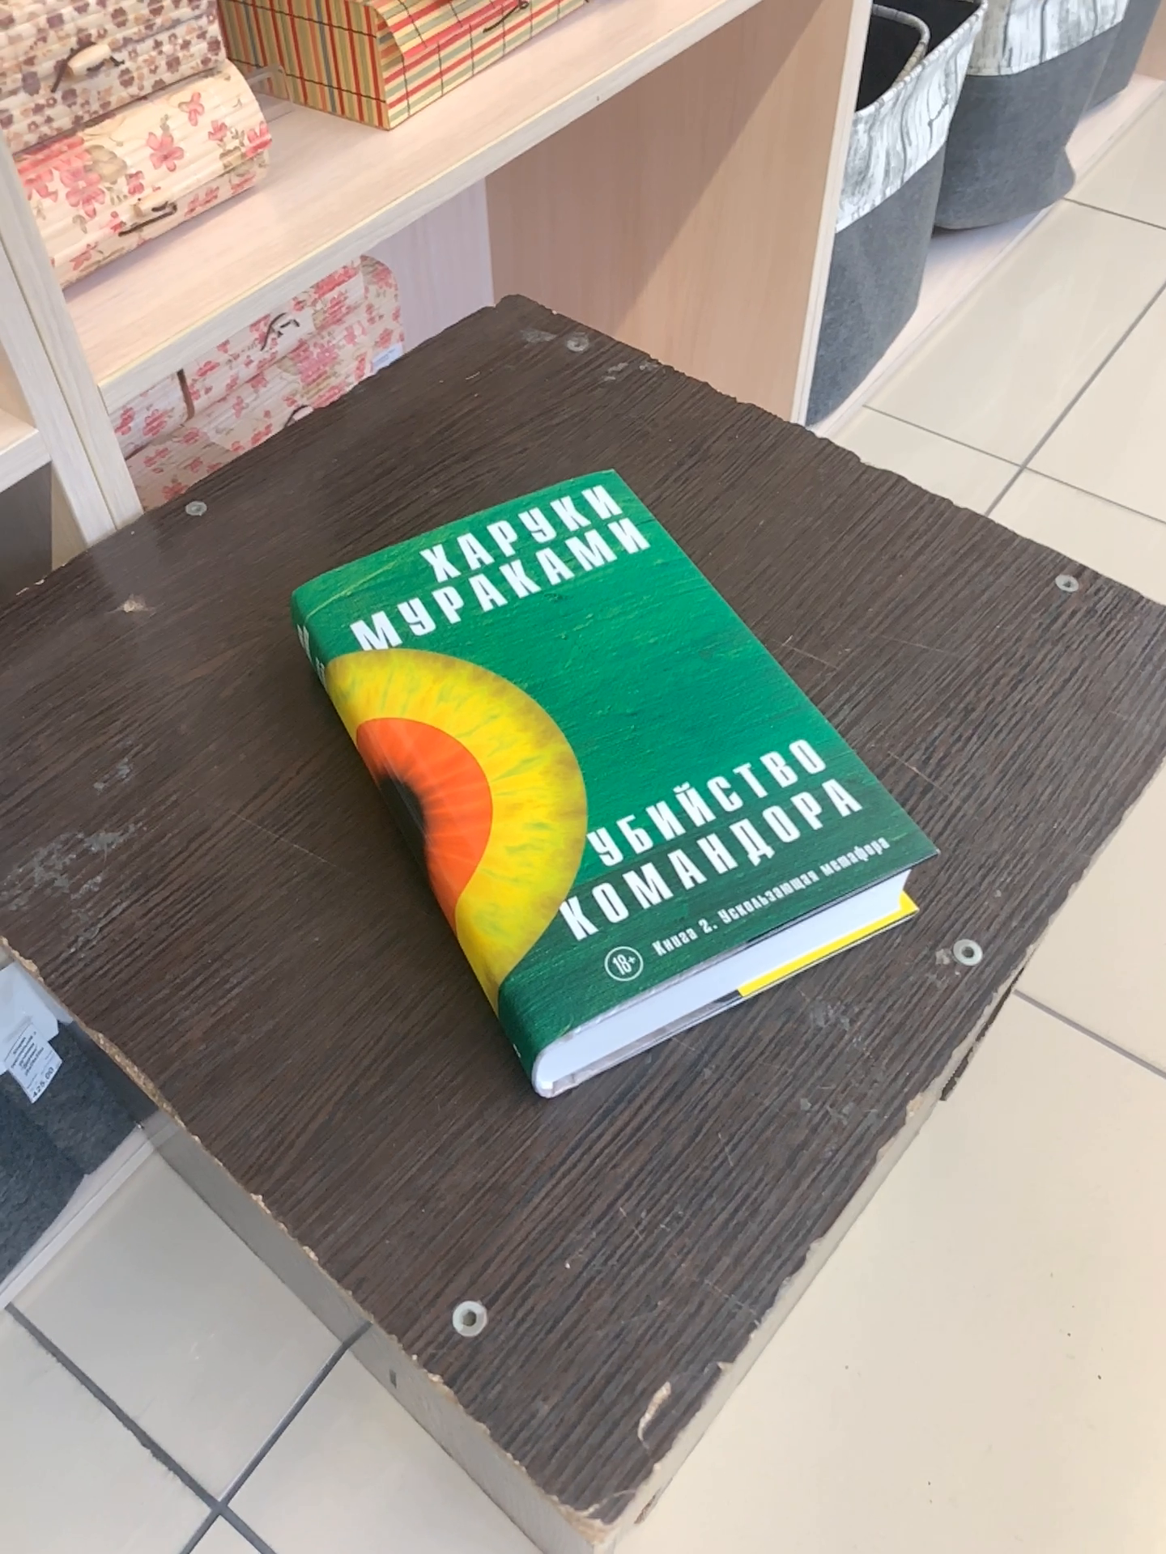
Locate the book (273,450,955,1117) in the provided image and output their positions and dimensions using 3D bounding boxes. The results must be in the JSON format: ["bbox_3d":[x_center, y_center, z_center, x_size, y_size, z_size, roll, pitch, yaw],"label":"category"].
[{"bbox_3d":[0.001,-0.014,0.432,0.150,0.050,0.217,-23,58,-16],"label":"book"}]
